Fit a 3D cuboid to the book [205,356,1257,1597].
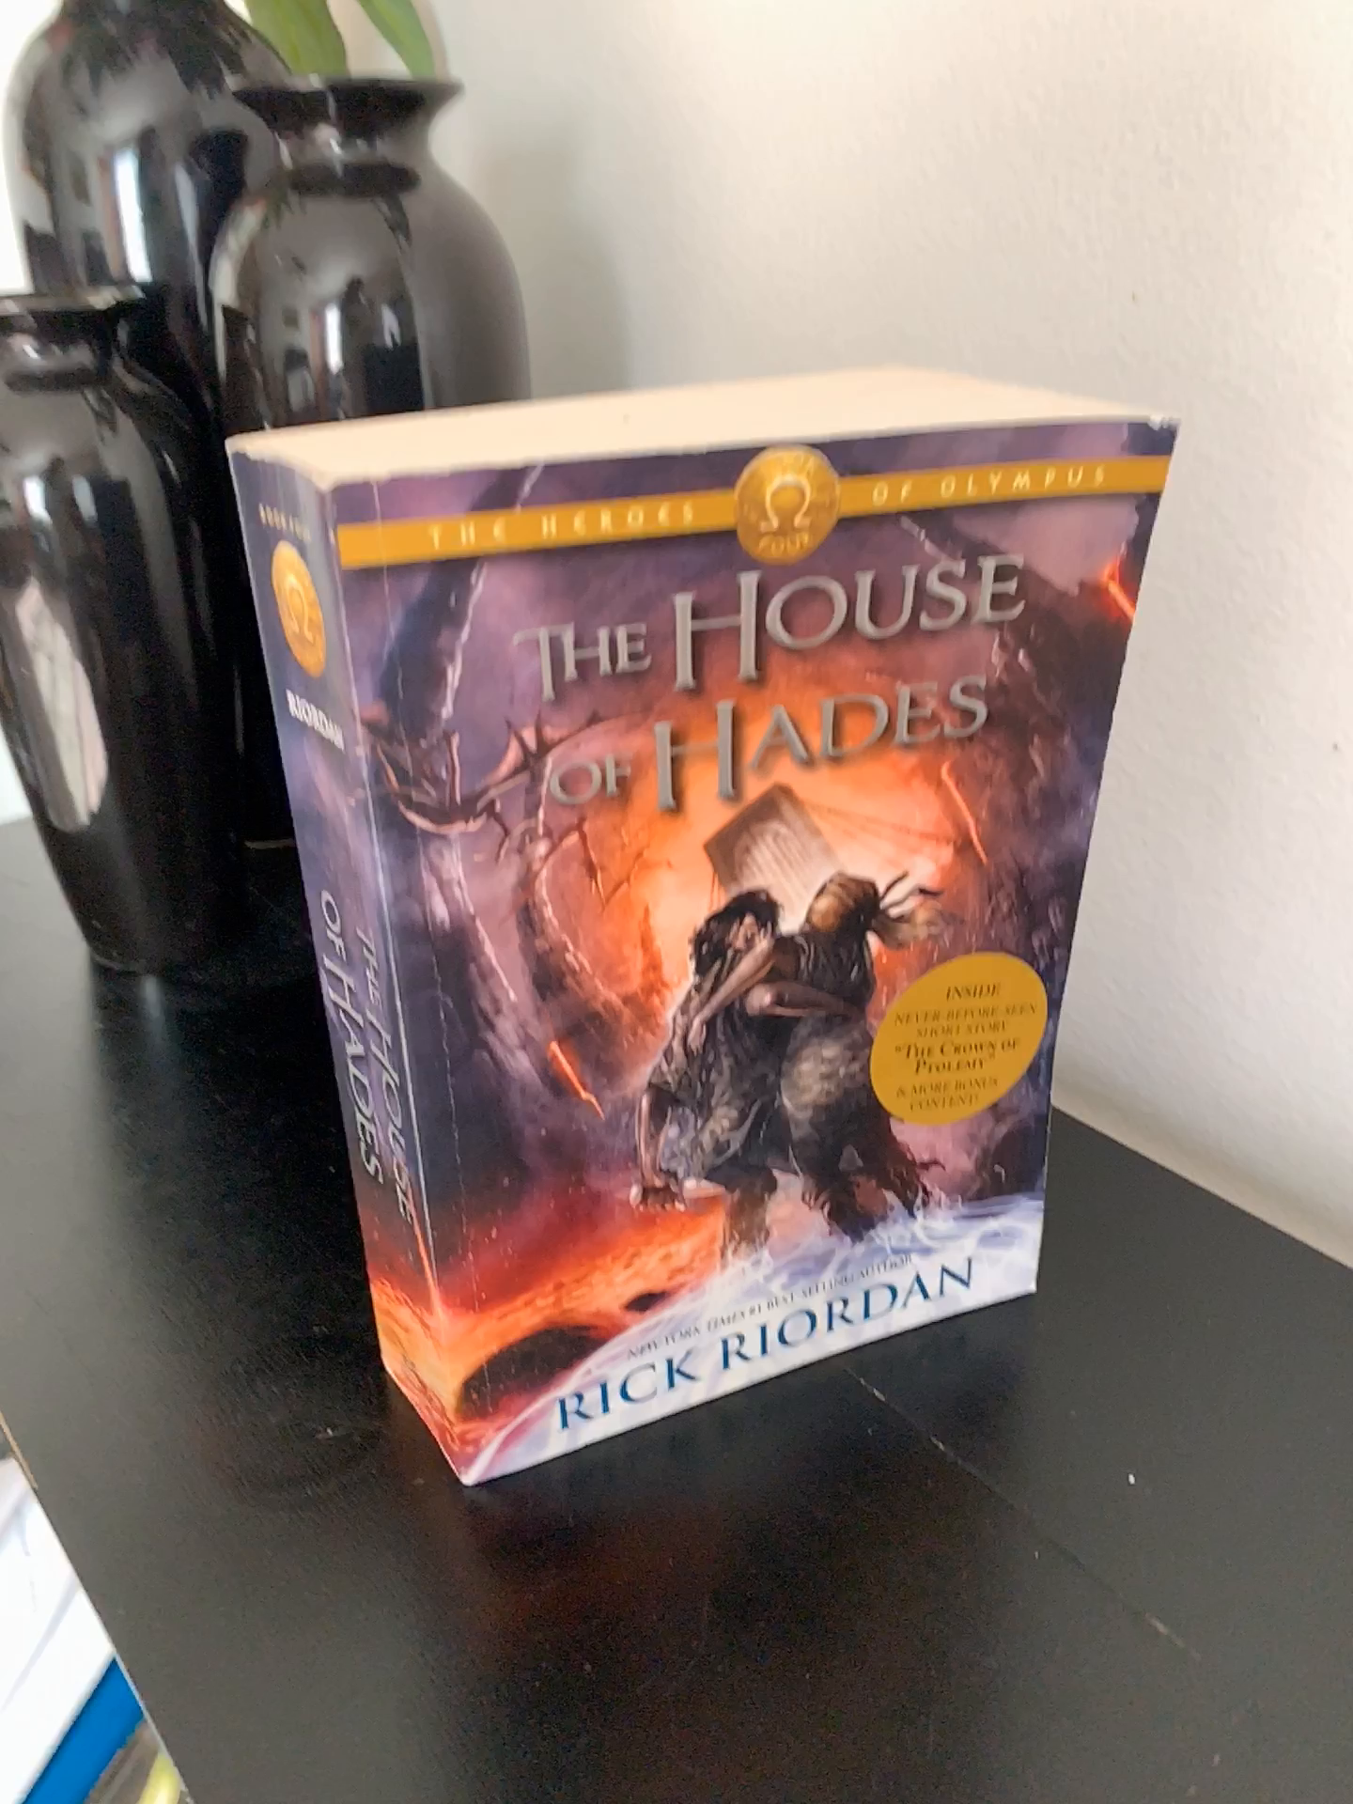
[{"bbox_3d":[0.011,0.002,0.256,0.145,0.176,0.077,-16,30,-29],"label":"book"}]
